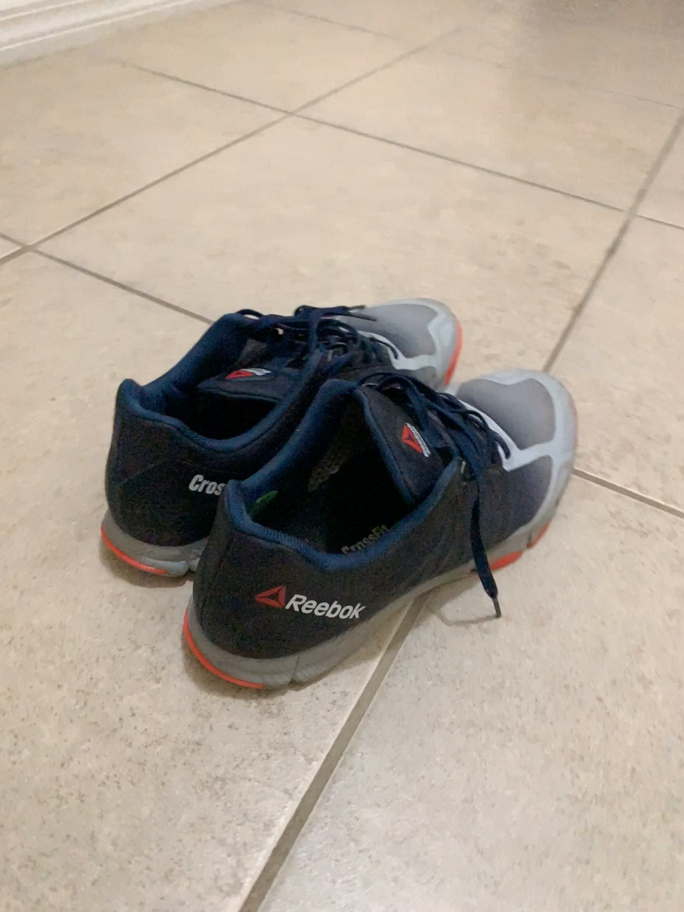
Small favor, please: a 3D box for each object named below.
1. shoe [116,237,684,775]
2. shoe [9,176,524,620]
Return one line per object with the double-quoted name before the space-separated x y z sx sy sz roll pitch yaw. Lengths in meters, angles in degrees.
"shoe" 0.053 0.003 0.394 0.316 0.133 0.109 -30 55 -32
"shoe" -0.023 -0.058 0.440 0.104 0.121 0.306 33 50 25
